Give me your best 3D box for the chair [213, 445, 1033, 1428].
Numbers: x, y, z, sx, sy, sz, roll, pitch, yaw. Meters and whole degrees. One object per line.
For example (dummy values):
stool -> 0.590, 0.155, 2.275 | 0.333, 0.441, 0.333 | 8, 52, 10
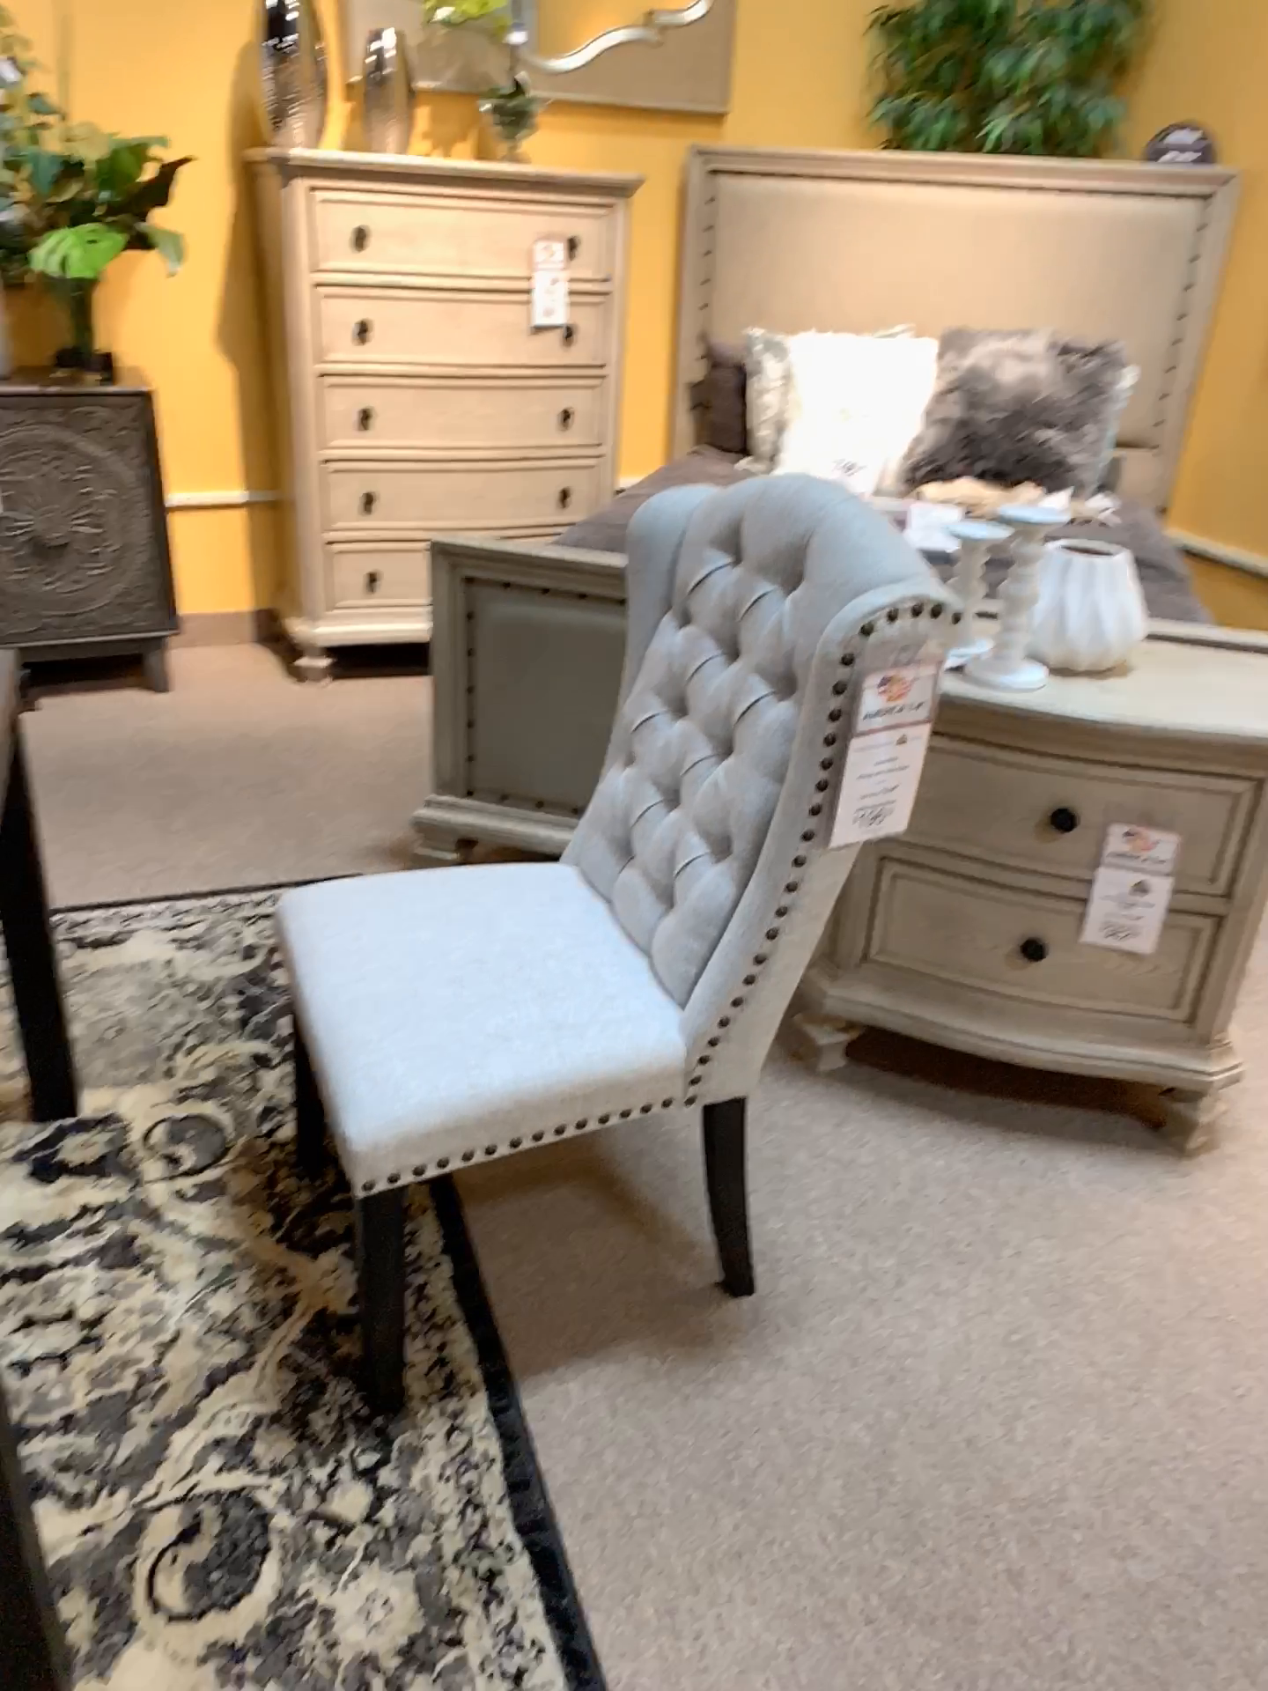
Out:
chair -> -0.071, 0.055, 1.635 | 0.741, 0.973, 0.590 | -8, 28, -20
